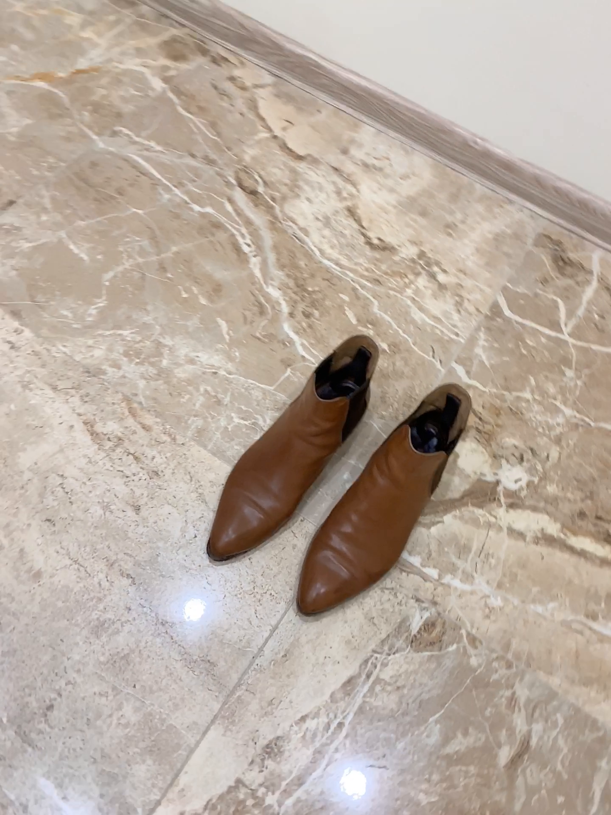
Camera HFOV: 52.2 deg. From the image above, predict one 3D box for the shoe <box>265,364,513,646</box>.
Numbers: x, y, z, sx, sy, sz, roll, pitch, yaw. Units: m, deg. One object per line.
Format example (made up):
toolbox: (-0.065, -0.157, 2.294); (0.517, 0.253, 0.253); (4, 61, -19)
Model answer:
shoe: (0.079, 0.093, 0.609); (0.090, 0.120, 0.250); (38, 65, 13)

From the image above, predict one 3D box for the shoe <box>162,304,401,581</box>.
shoe: (-0.020, 0.035, 0.637); (0.090, 0.130, 0.250); (35, 65, 12)
